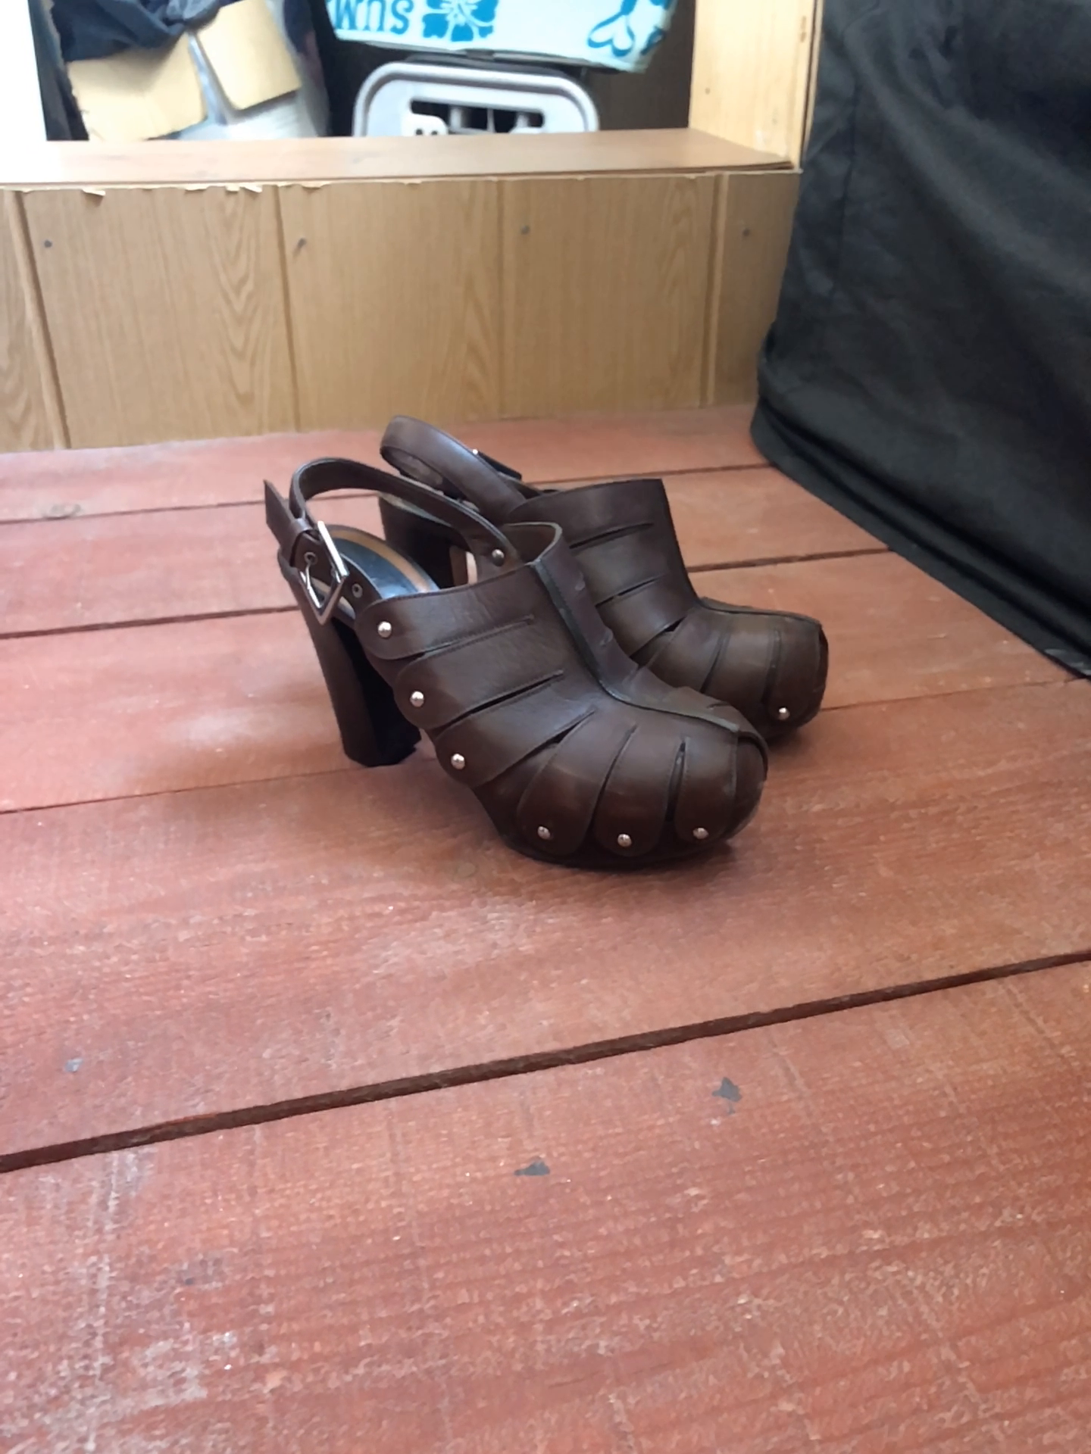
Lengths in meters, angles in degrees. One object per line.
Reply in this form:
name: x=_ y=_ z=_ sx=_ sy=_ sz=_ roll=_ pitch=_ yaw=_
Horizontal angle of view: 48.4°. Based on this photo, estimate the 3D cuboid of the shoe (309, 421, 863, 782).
shoe: x=0.017 y=-0.059 z=0.515 sx=0.210 sy=0.110 sz=0.080 roll=10 pitch=17 yaw=10

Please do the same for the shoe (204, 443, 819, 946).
shoe: x=-0.017 y=-0.023 z=0.459 sx=0.210 sy=0.120 sz=0.080 roll=18 pitch=34 yaw=29
